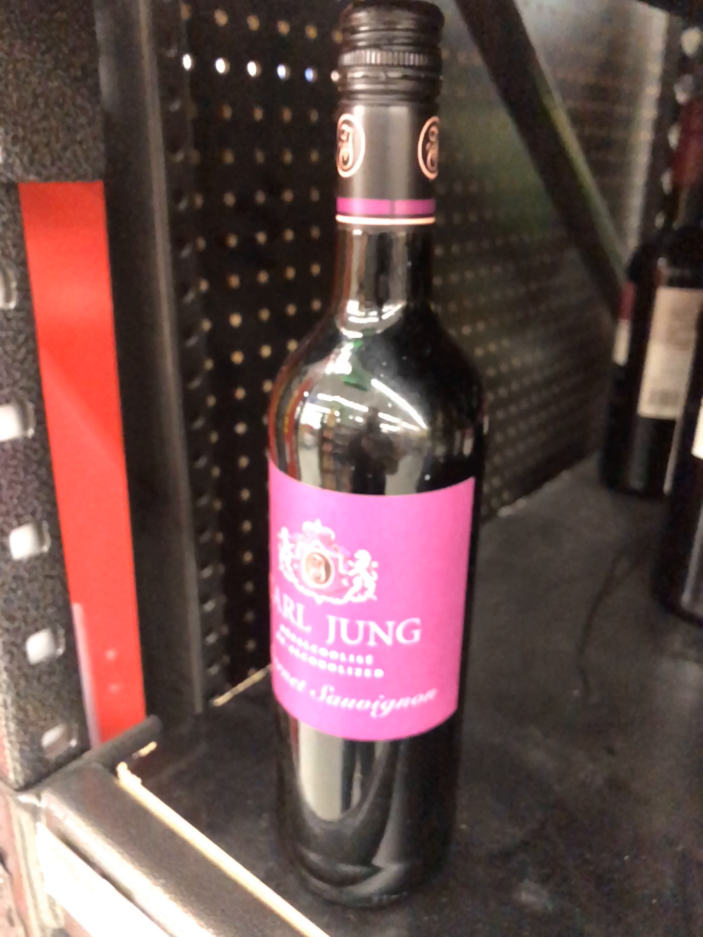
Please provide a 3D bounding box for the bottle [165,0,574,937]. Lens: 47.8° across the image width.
[{"bbox_3d":[0.007,0.013,0.263,0.080,0.288,0.080,0,21,0],"label":"bottle"}]
